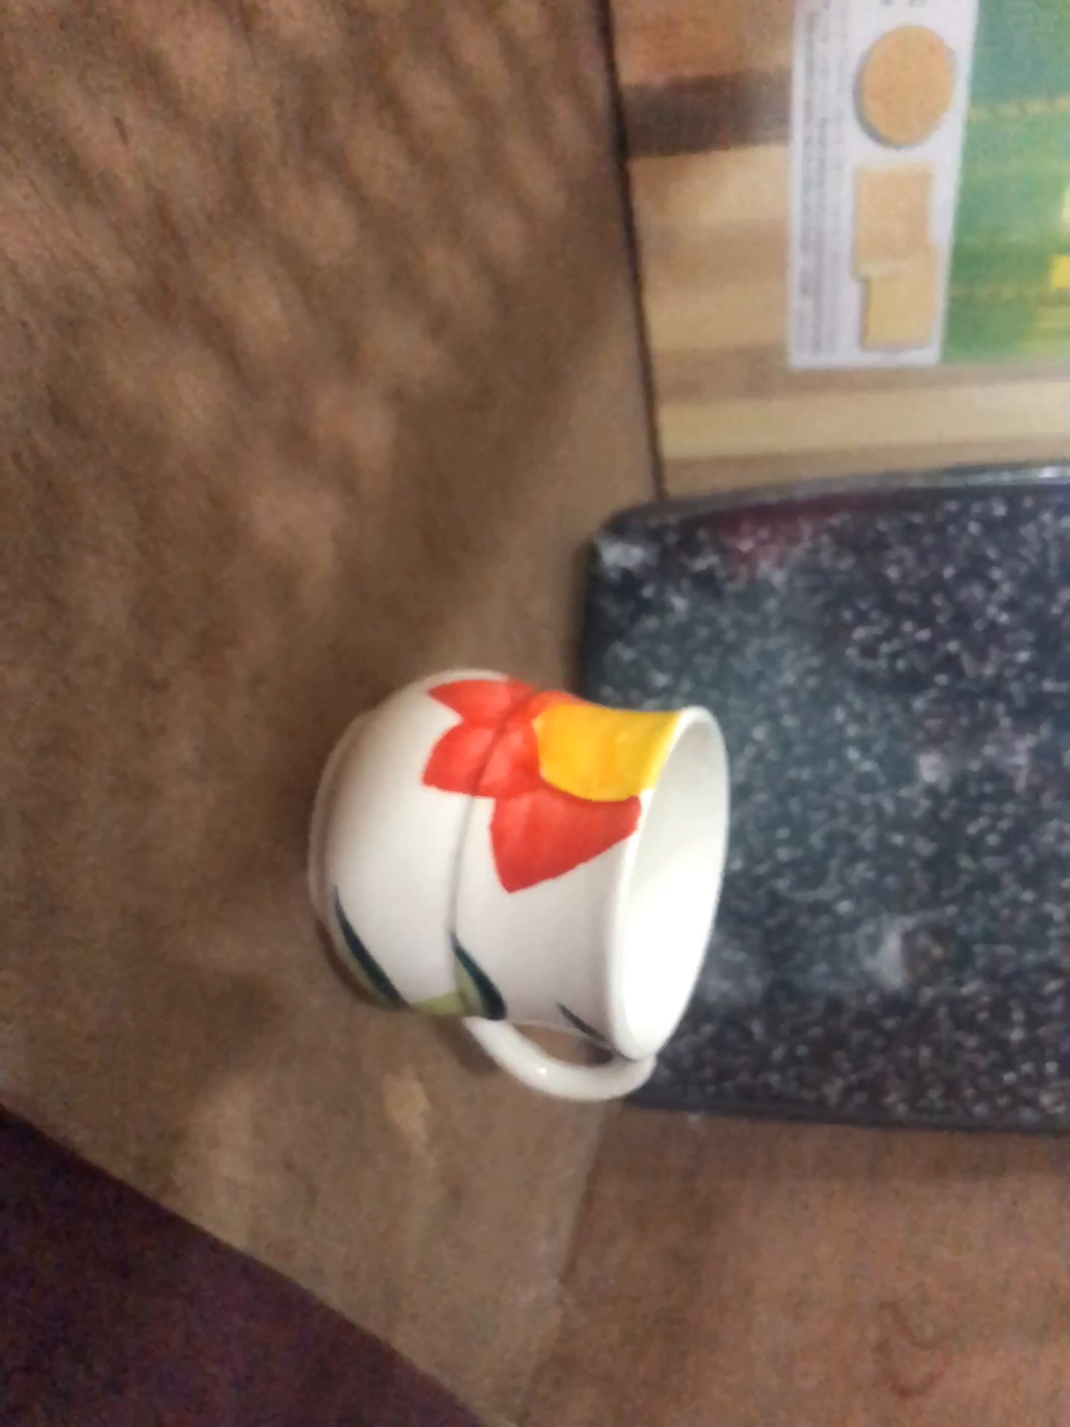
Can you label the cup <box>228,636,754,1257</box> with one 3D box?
[{"bbox_3d":[0.000,0.042,0.222,0.090,0.060,0.060,76,31,-42],"label":"cup"}]
